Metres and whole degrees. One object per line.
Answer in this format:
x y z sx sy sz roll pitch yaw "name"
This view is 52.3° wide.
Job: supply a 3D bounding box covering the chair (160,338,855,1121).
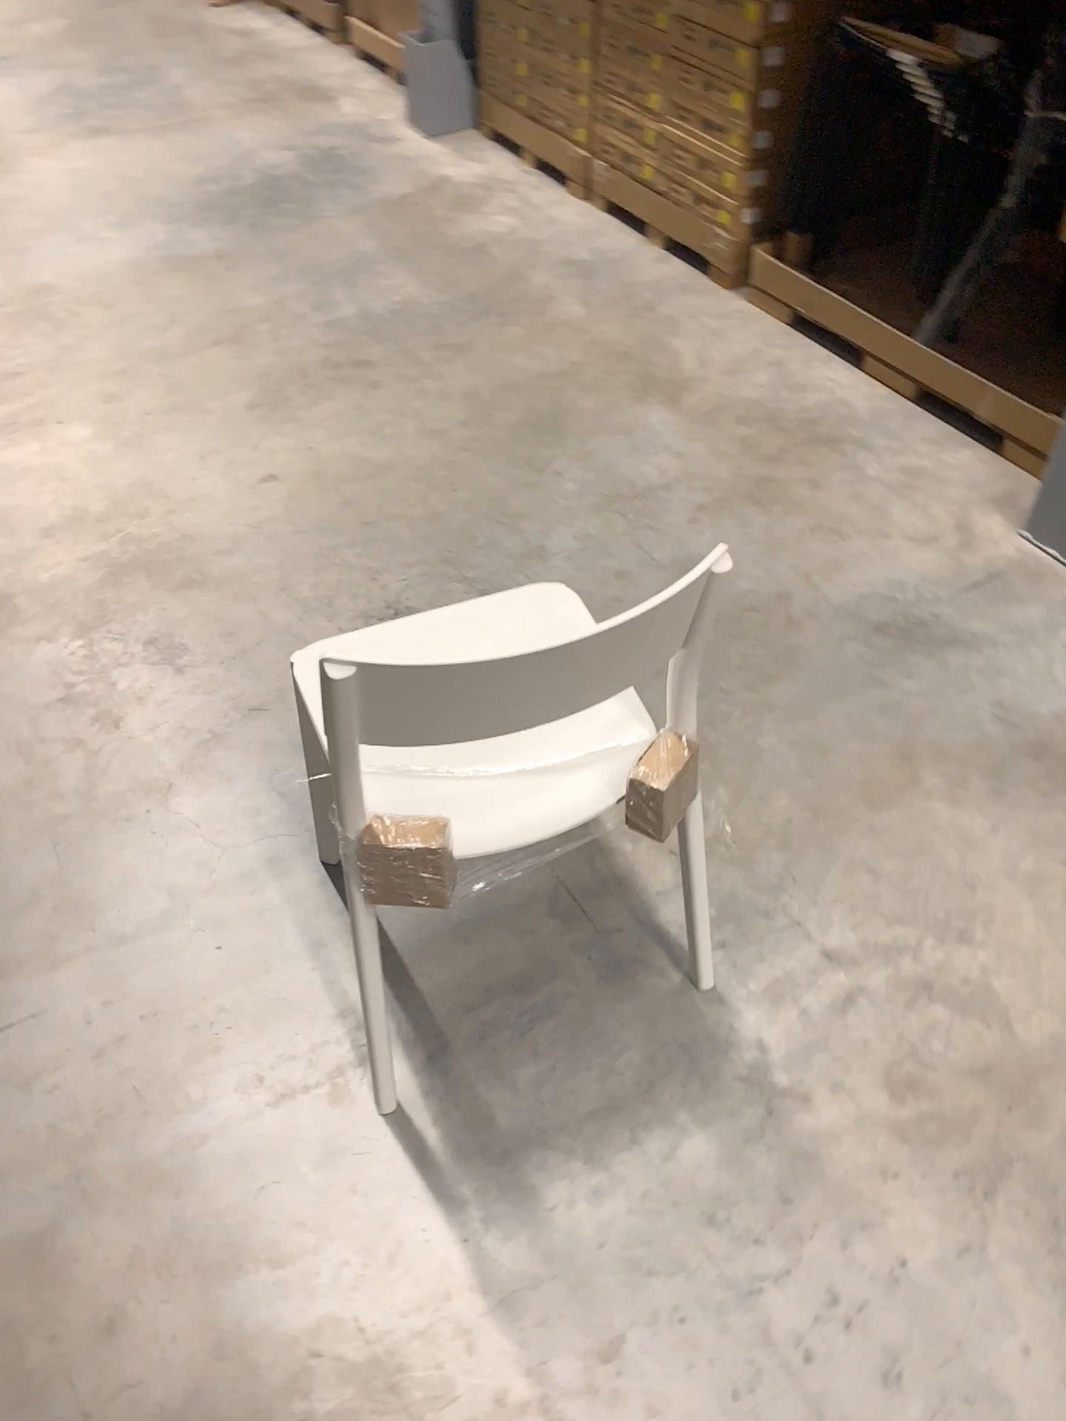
-0.054 0.013 1.293 0.520 0.618 0.532 -18 48 -17 "chair"
